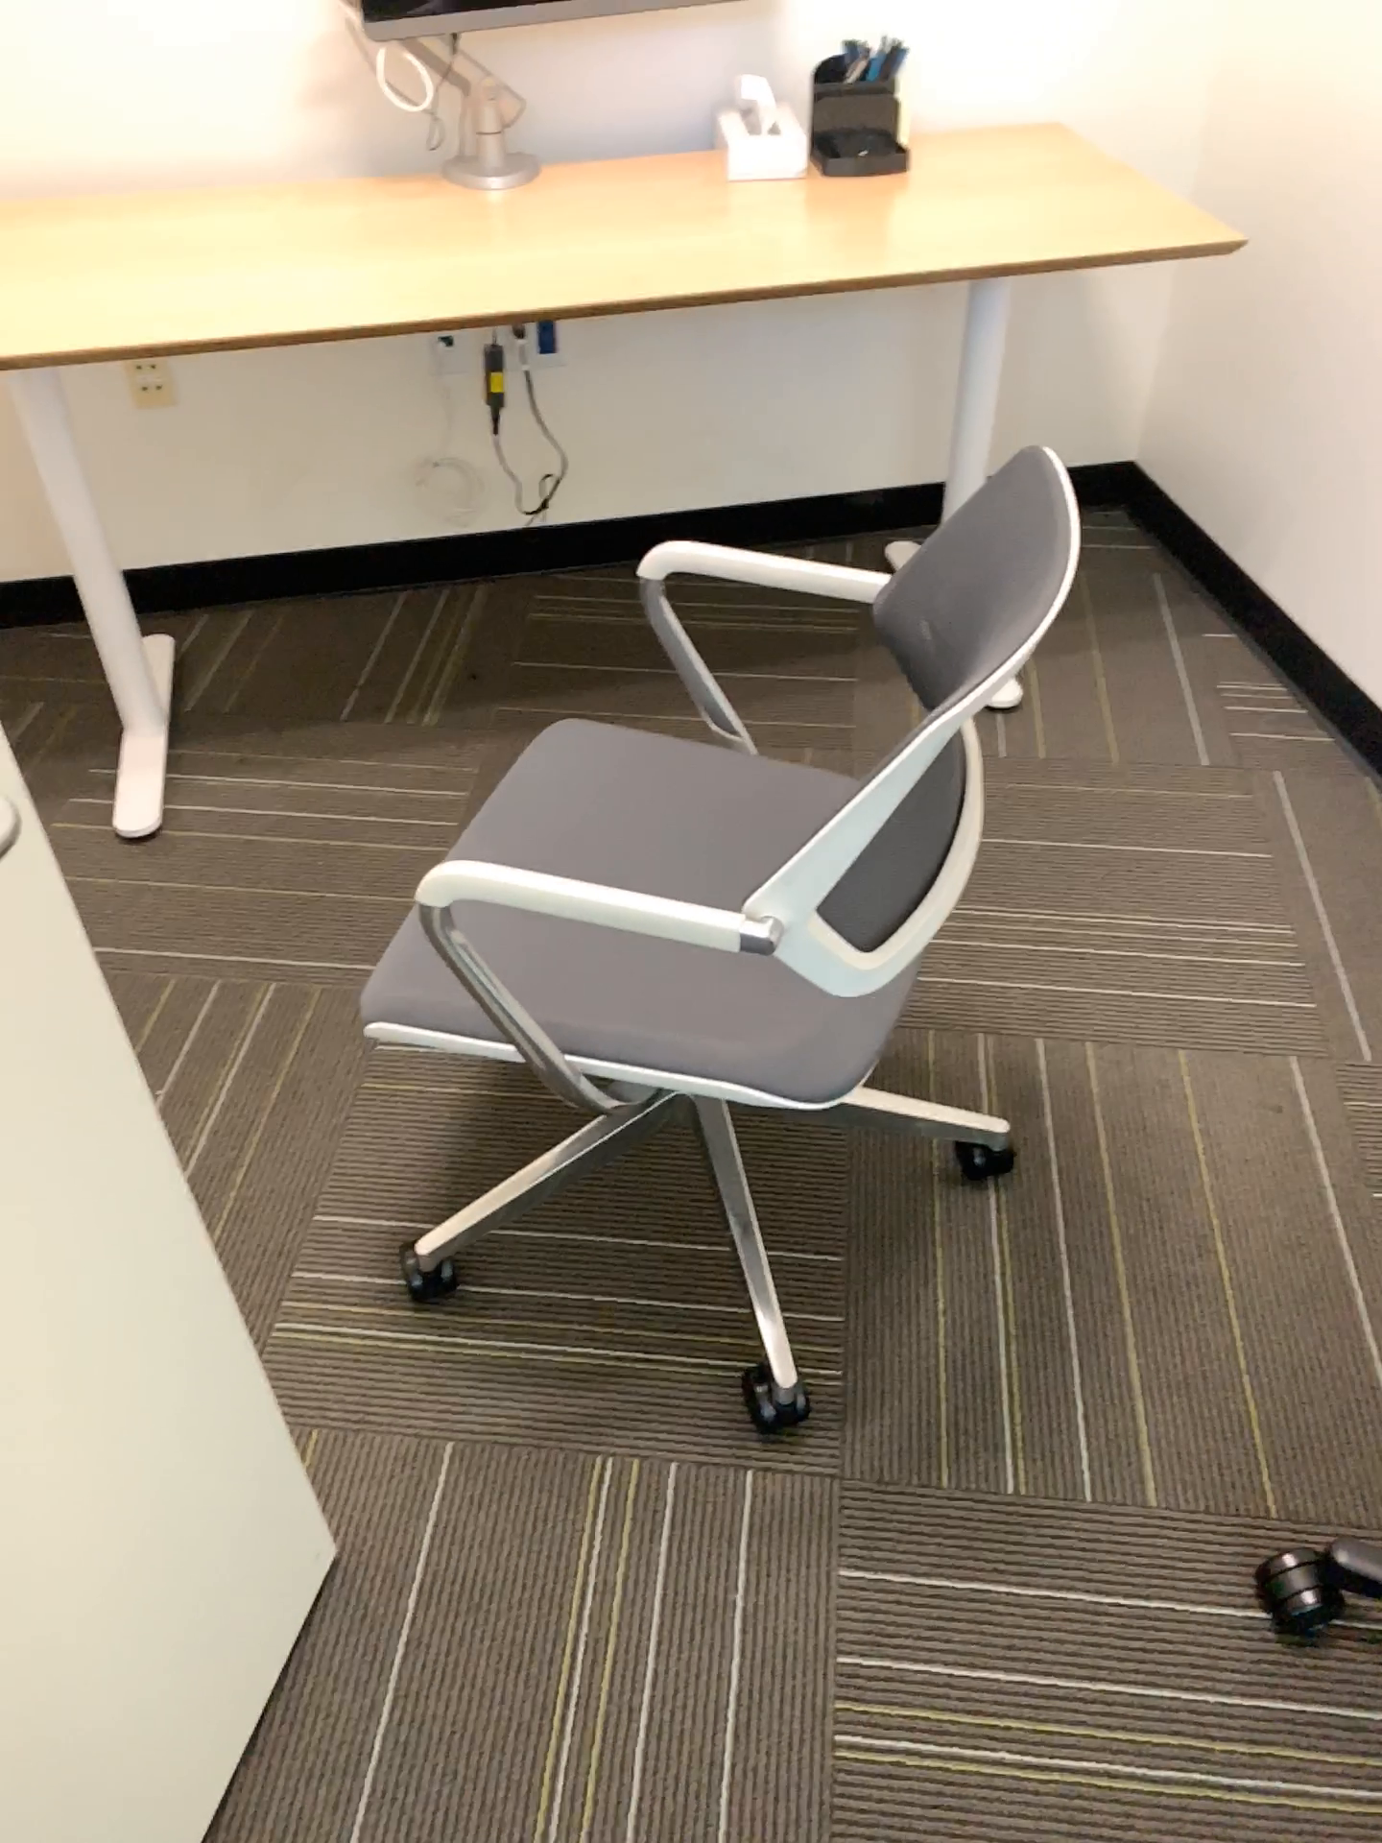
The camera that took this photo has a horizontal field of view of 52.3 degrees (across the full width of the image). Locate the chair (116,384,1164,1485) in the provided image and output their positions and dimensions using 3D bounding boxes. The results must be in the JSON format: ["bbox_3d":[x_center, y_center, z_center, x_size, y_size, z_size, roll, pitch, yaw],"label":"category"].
[{"bbox_3d":[0.011,0.004,1.198,0.590,0.666,0.553,8,43,9],"label":"chair"}]
